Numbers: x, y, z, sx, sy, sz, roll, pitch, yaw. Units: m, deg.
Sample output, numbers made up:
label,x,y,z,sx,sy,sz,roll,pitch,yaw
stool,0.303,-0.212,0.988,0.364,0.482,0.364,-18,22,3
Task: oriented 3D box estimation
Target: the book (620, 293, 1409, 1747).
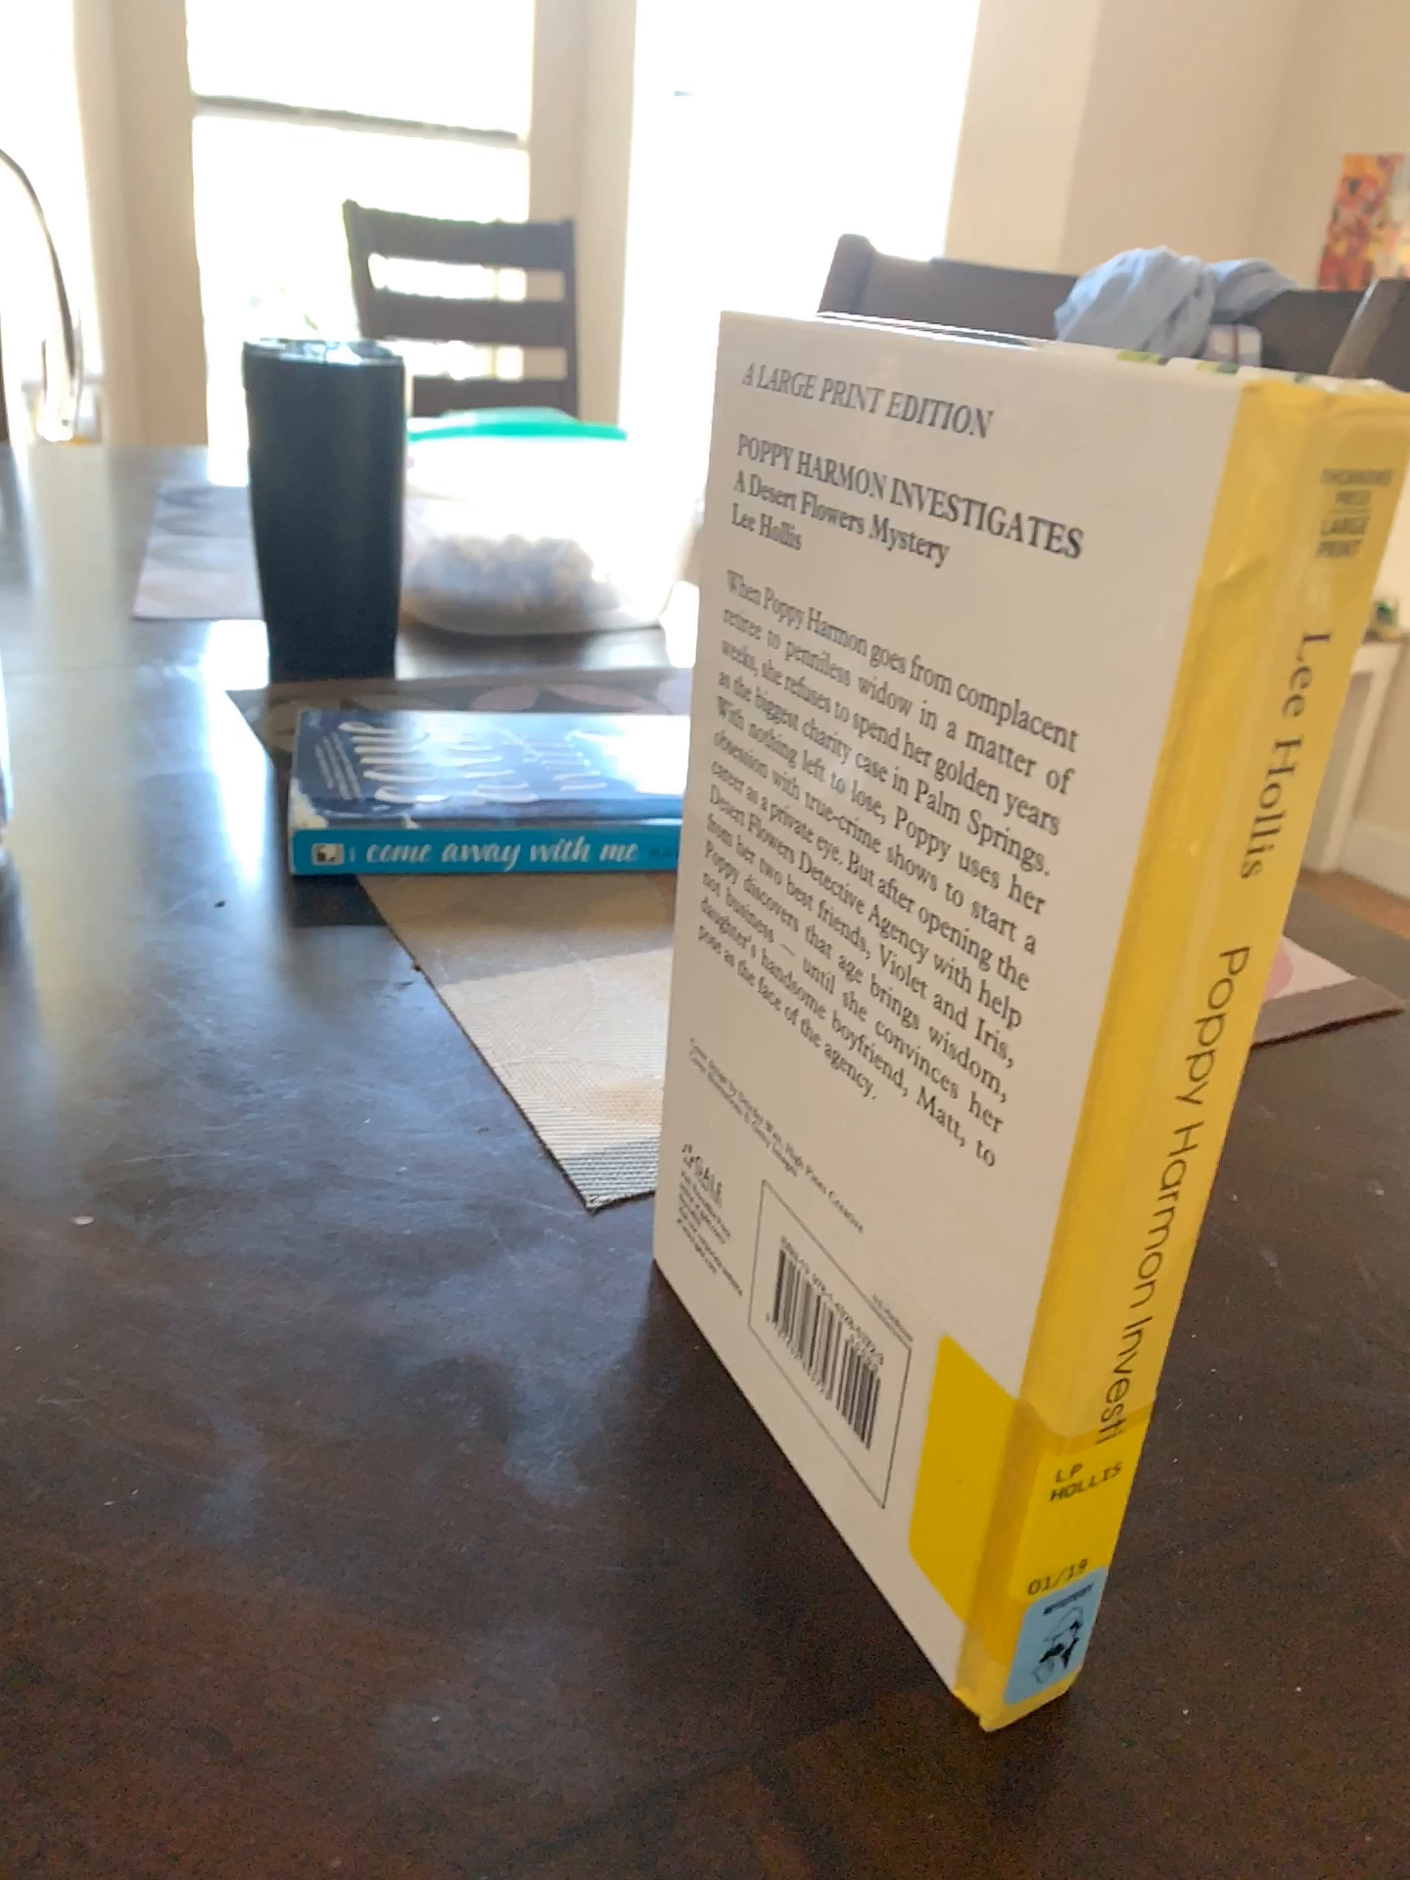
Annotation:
label,x,y,z,sx,sy,sz,roll,pitch,yaw
book,0.039,0.005,0.272,0.040,0.219,0.154,-9,29,-26
